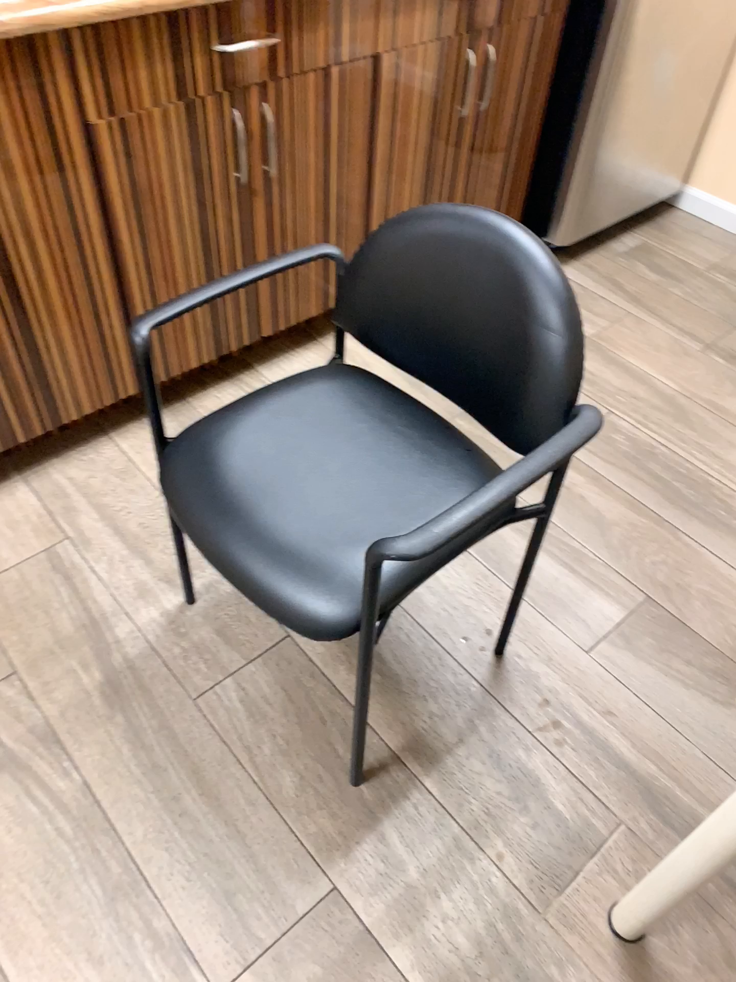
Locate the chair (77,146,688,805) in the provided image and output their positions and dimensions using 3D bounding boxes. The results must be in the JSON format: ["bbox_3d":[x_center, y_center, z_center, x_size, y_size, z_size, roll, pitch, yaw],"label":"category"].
[{"bbox_3d":[-0.005,-0.024,1.227,0.521,0.736,0.591,-34,58,-30],"label":"chair"}]
